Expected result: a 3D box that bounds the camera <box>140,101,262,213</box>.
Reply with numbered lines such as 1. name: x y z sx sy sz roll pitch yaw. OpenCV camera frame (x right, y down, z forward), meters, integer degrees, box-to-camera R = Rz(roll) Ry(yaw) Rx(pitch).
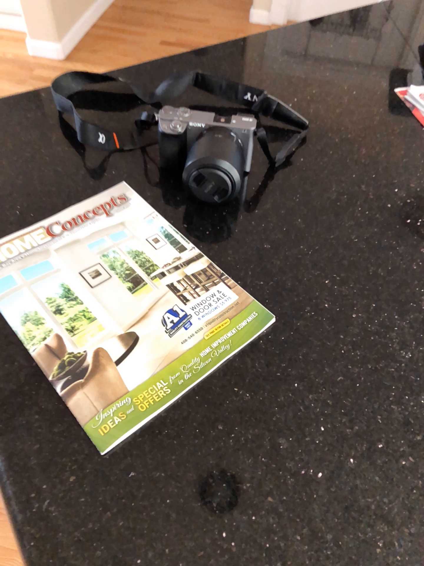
1. camera: -0.009 -0.148 0.541 0.120 0.060 0.110 7 52 4
